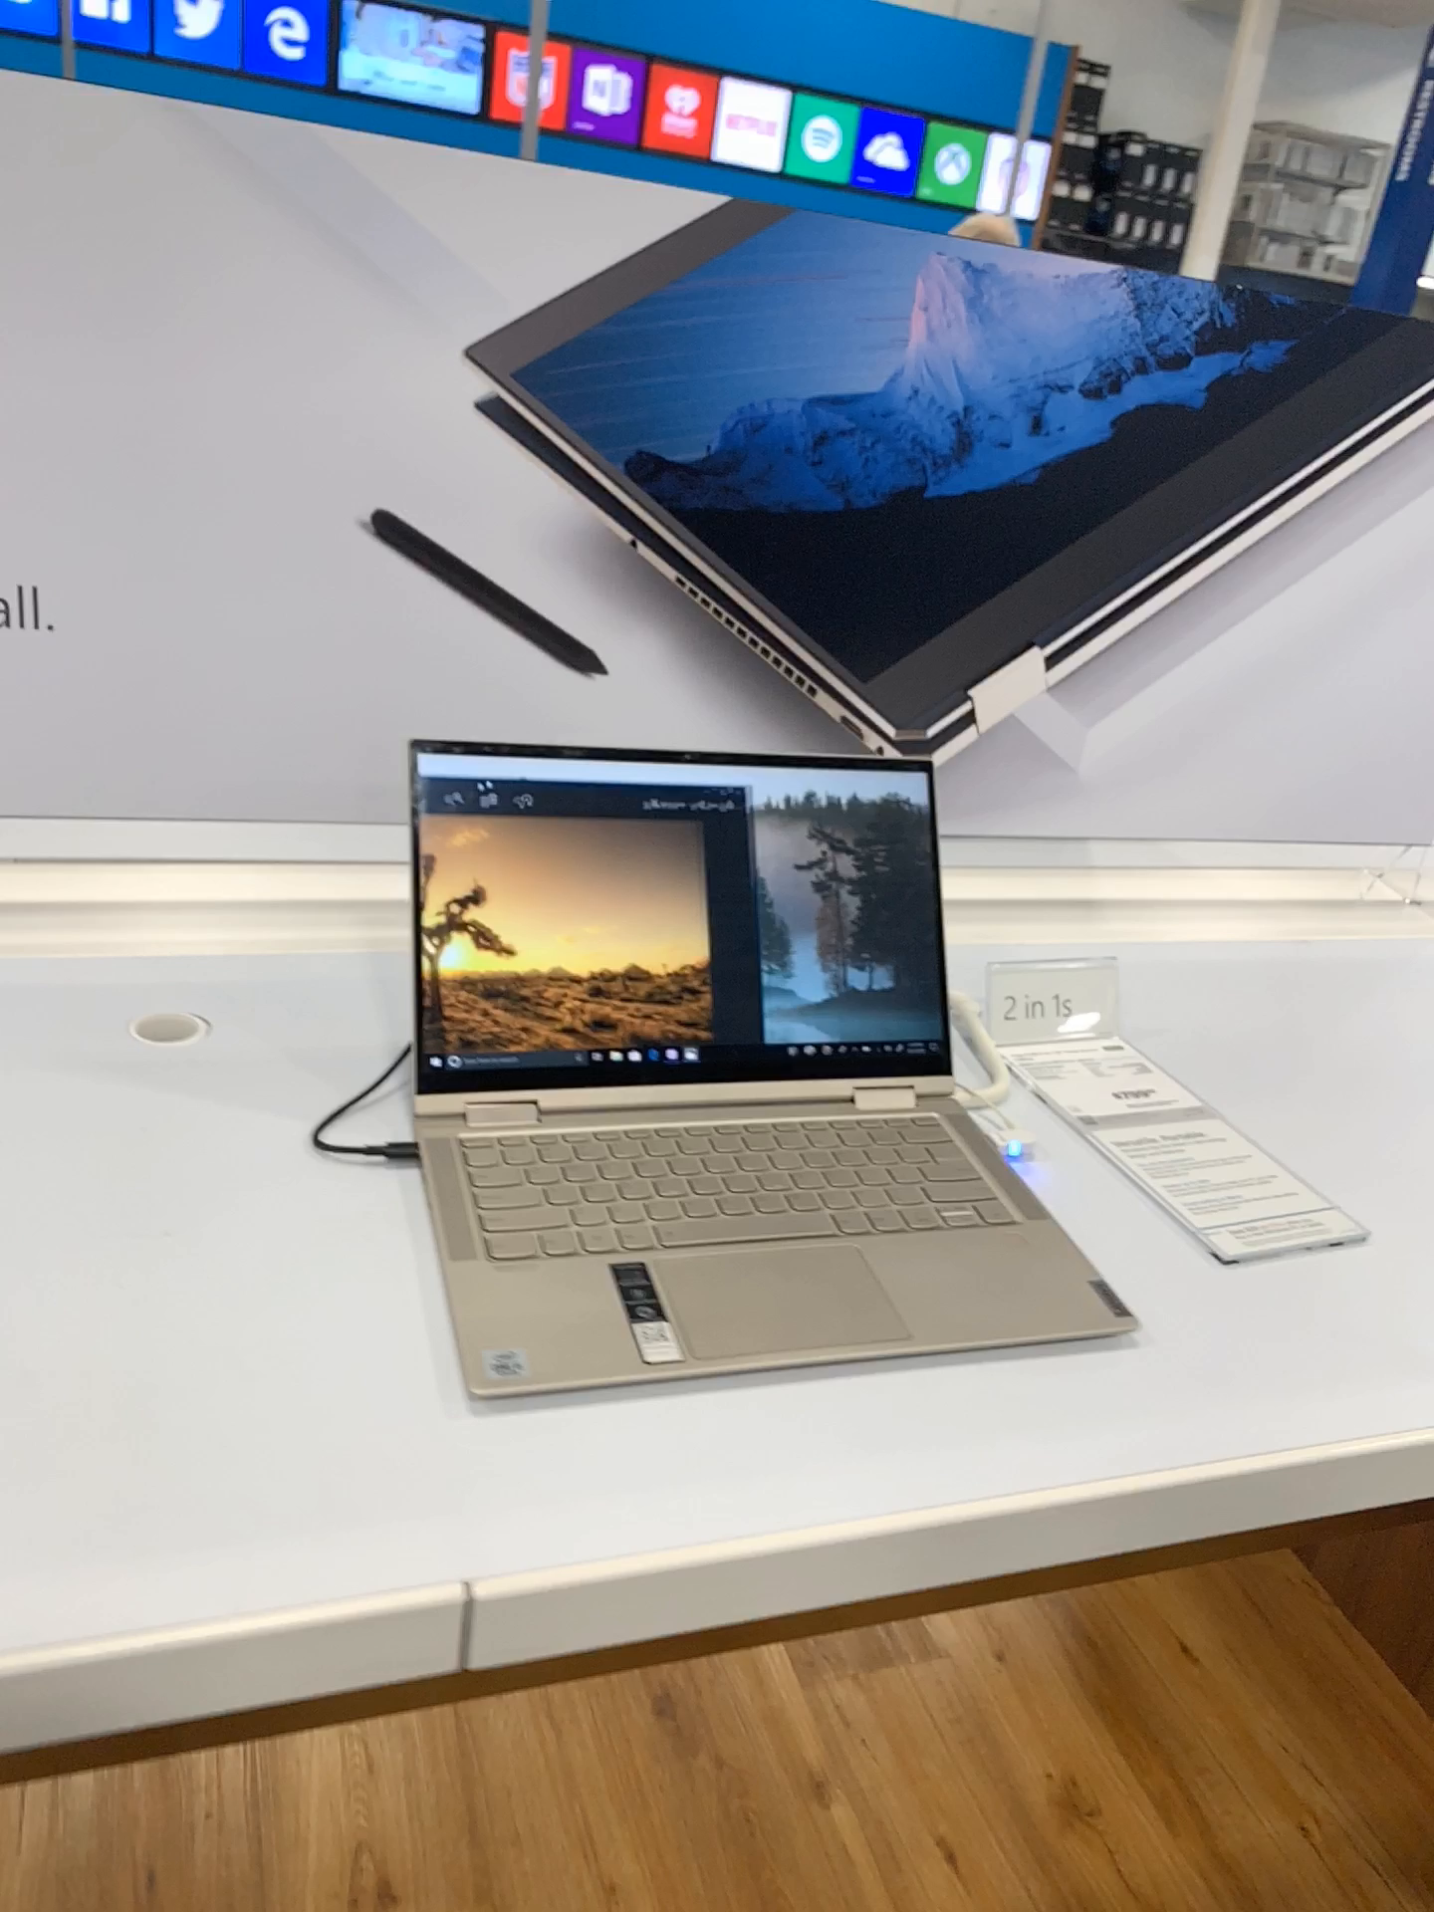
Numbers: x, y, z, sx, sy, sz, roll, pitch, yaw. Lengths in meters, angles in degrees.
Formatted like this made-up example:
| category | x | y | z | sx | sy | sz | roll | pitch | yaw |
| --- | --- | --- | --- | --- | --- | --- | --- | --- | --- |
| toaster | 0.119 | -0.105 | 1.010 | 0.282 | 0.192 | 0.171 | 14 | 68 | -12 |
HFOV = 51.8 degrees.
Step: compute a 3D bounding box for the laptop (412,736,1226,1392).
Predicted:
| category | x | y | z | sx | sy | sz | roll | pitch | yaw |
| --- | --- | --- | --- | --- | --- | --- | --- | --- | --- |
| laptop | 0.018 | 0.026 | 0.764 | 0.309 | 0.170 | 0.330 | 0 | 26 | -18 |
